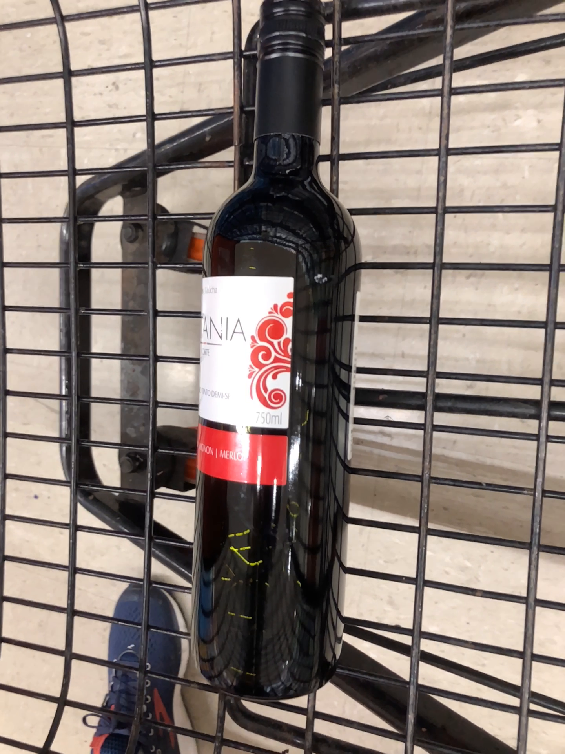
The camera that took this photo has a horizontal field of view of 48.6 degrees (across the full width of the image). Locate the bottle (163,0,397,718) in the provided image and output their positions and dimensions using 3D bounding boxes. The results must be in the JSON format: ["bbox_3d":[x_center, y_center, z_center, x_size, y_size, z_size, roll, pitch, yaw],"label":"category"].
[{"bbox_3d":[-0.008,-0.021,0.281,0.080,0.070,0.300,12,101,64],"label":"bottle"}]
